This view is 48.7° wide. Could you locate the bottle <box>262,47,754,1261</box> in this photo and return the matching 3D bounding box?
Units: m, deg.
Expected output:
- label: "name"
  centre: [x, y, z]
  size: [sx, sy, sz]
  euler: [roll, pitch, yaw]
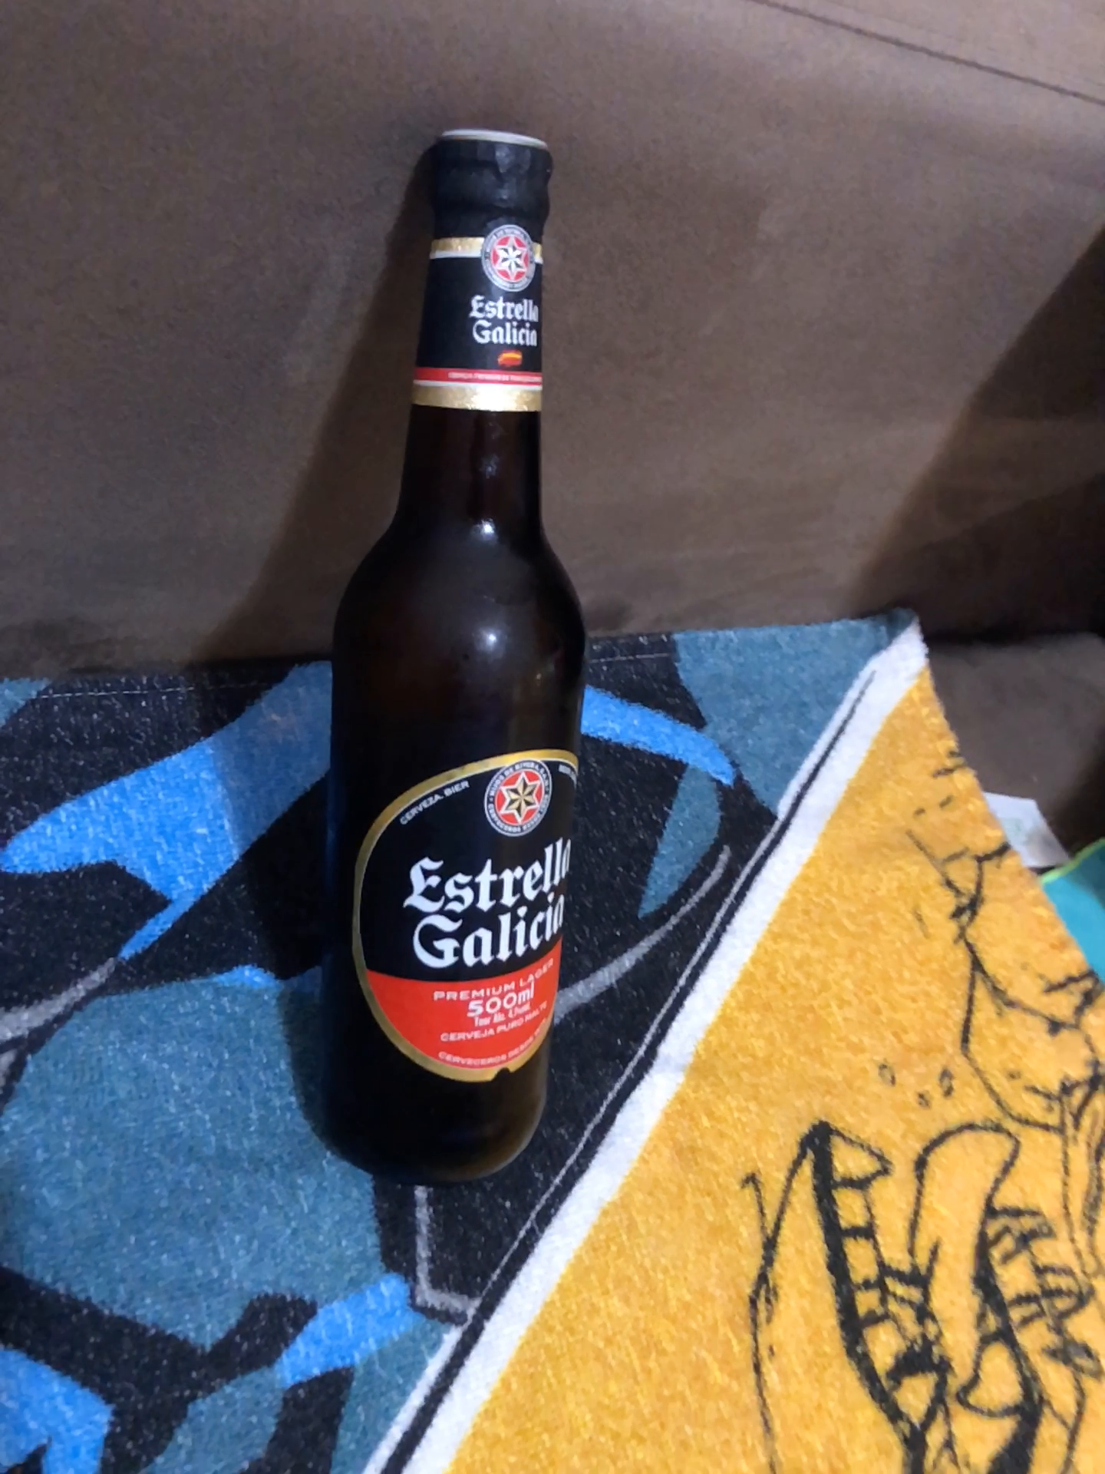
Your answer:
- label: "bottle"
  centre: [-0.021, -0.014, 0.318]
  size: [0.080, 0.269, 0.080]
  euler: [4, 16, -1]
